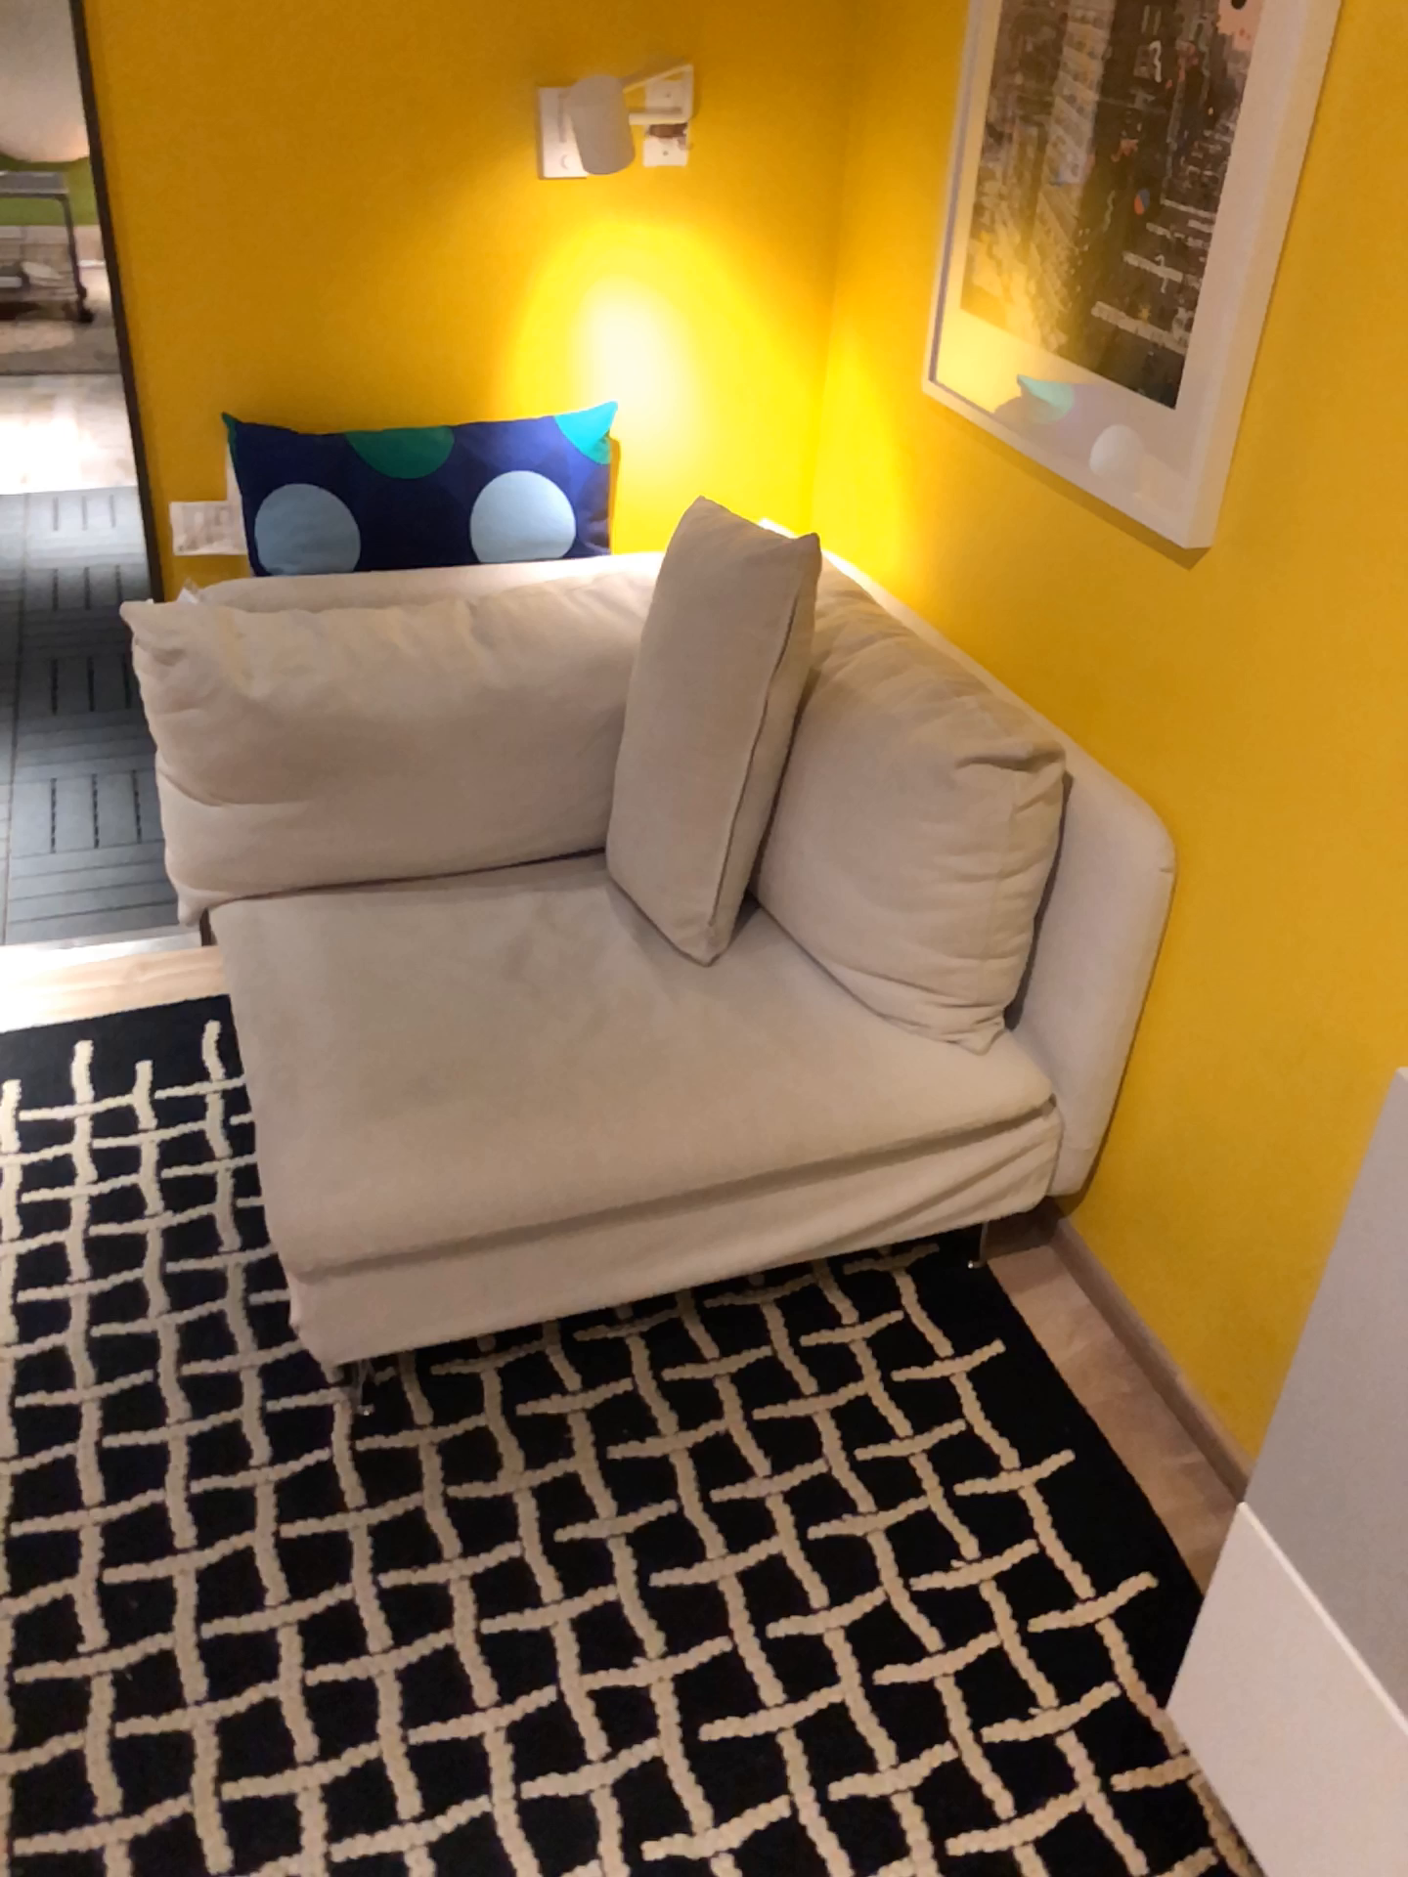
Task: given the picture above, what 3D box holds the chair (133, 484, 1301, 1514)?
[{"bbox_3d":[-0.091,-0.042,2.039,1.111,0.755,1.016,-8,35,-18],"label":"chair"}]
